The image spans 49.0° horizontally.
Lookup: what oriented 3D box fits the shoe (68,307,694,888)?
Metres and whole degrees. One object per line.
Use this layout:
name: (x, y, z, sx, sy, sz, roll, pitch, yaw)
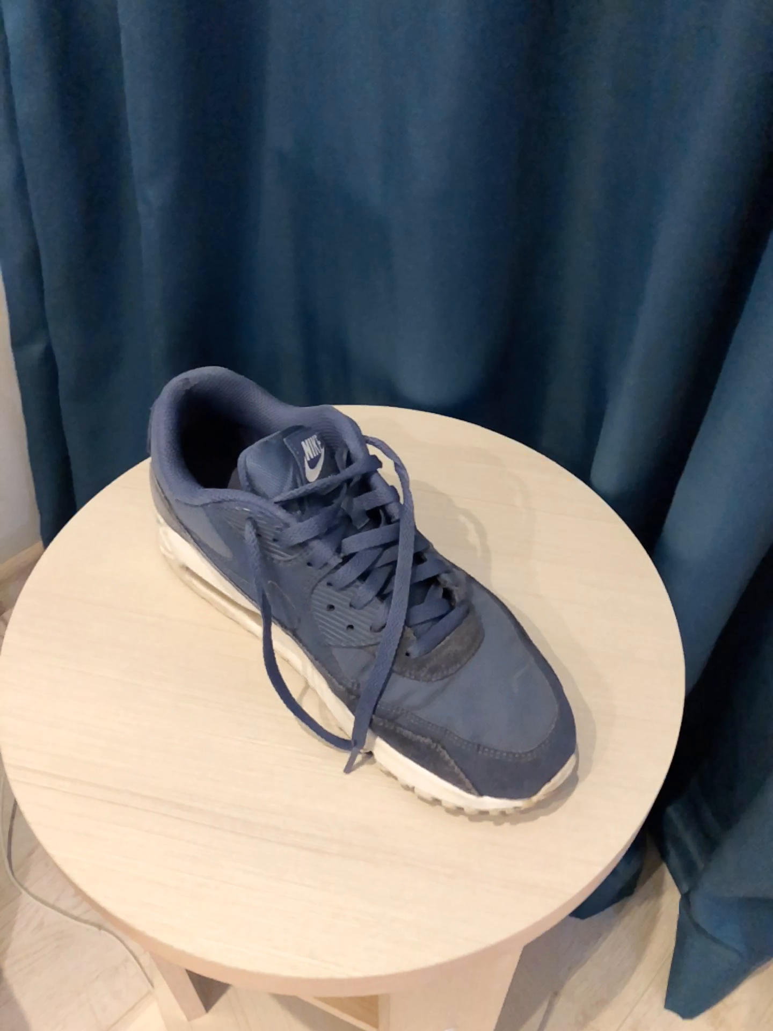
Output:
shoe: (-0.018, 0.021, 0.415, 0.281, 0.109, 0.110, 35, 53, 28)
